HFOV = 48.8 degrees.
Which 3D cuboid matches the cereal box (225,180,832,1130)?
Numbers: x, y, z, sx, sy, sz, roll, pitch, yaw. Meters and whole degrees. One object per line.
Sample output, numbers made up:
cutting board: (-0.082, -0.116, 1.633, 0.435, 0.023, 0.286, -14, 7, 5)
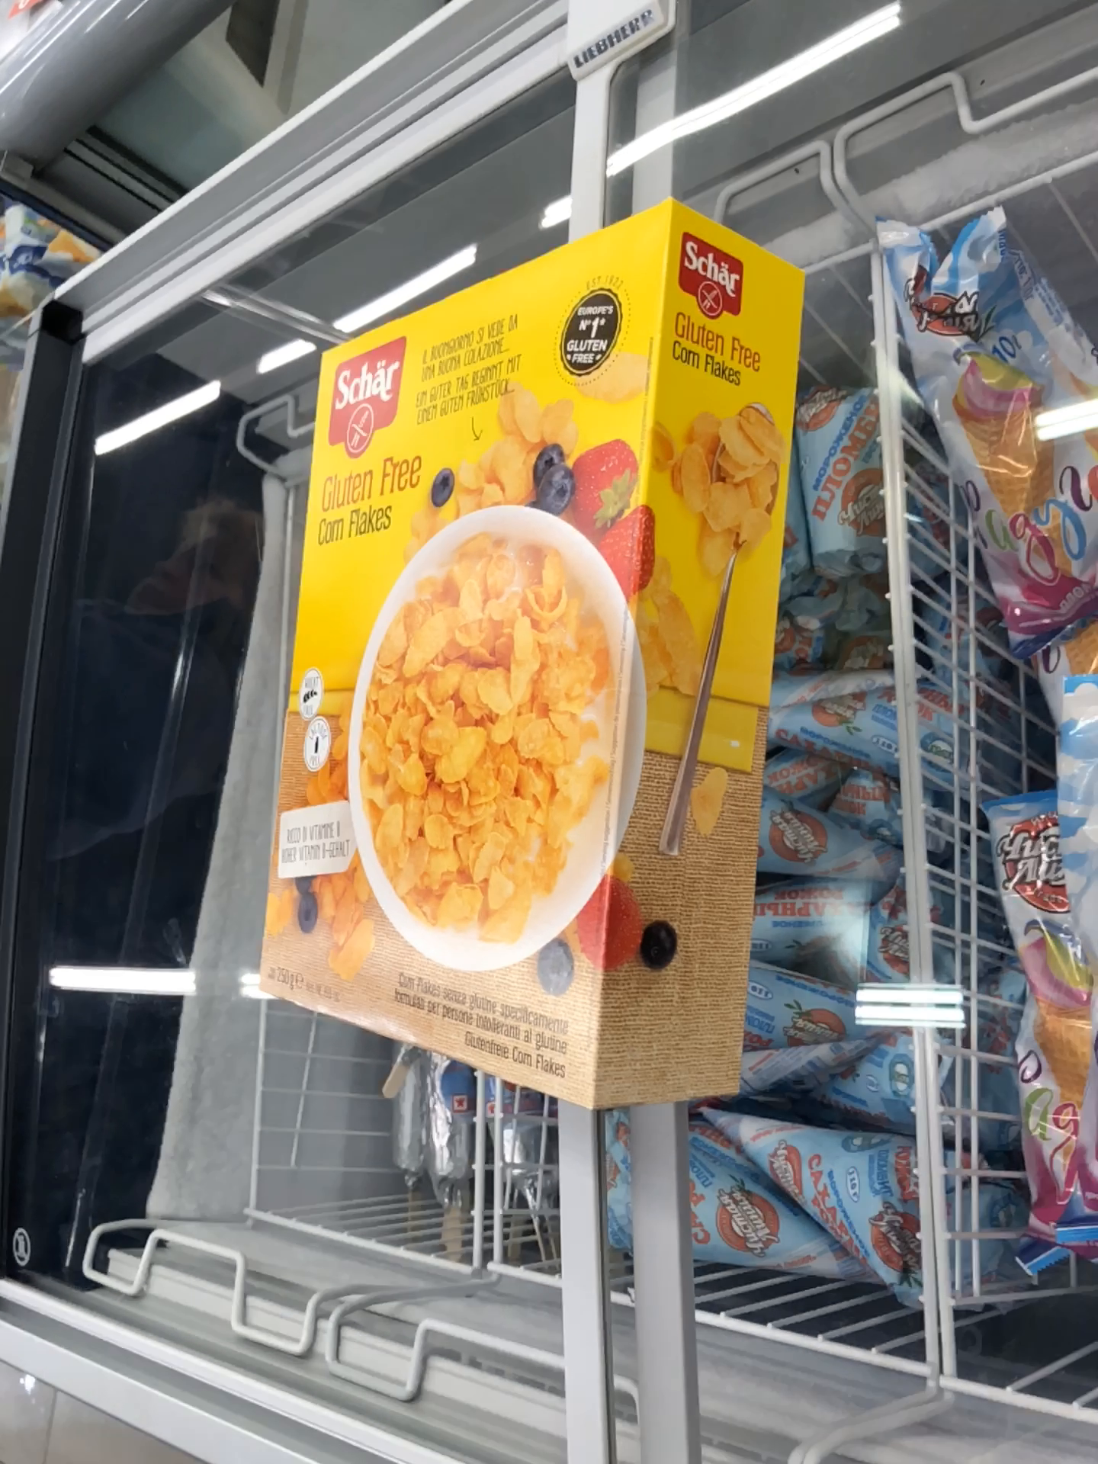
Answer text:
cereal box: (-0.017, -0.021, 0.429, 0.201, 0.080, 0.260, 1, 84, 49)
